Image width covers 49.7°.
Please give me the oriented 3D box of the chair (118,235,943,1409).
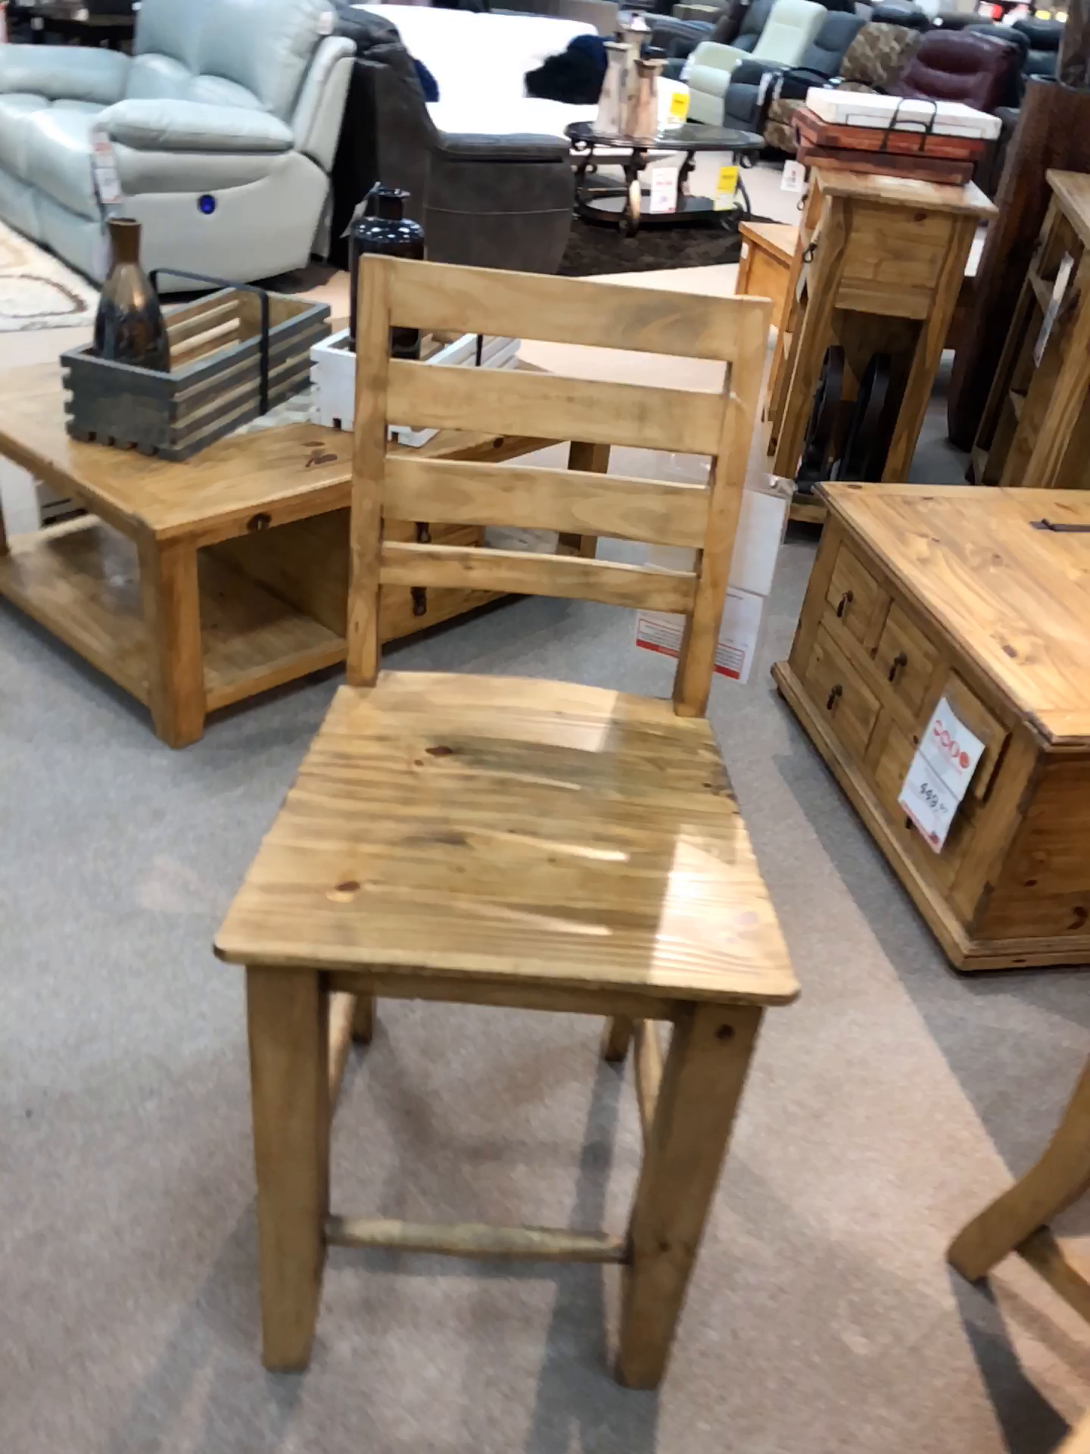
[{"bbox_3d":[-0.046,0.127,1.163,0.470,1.013,0.524,5,33,-2],"label":"chair"}]
